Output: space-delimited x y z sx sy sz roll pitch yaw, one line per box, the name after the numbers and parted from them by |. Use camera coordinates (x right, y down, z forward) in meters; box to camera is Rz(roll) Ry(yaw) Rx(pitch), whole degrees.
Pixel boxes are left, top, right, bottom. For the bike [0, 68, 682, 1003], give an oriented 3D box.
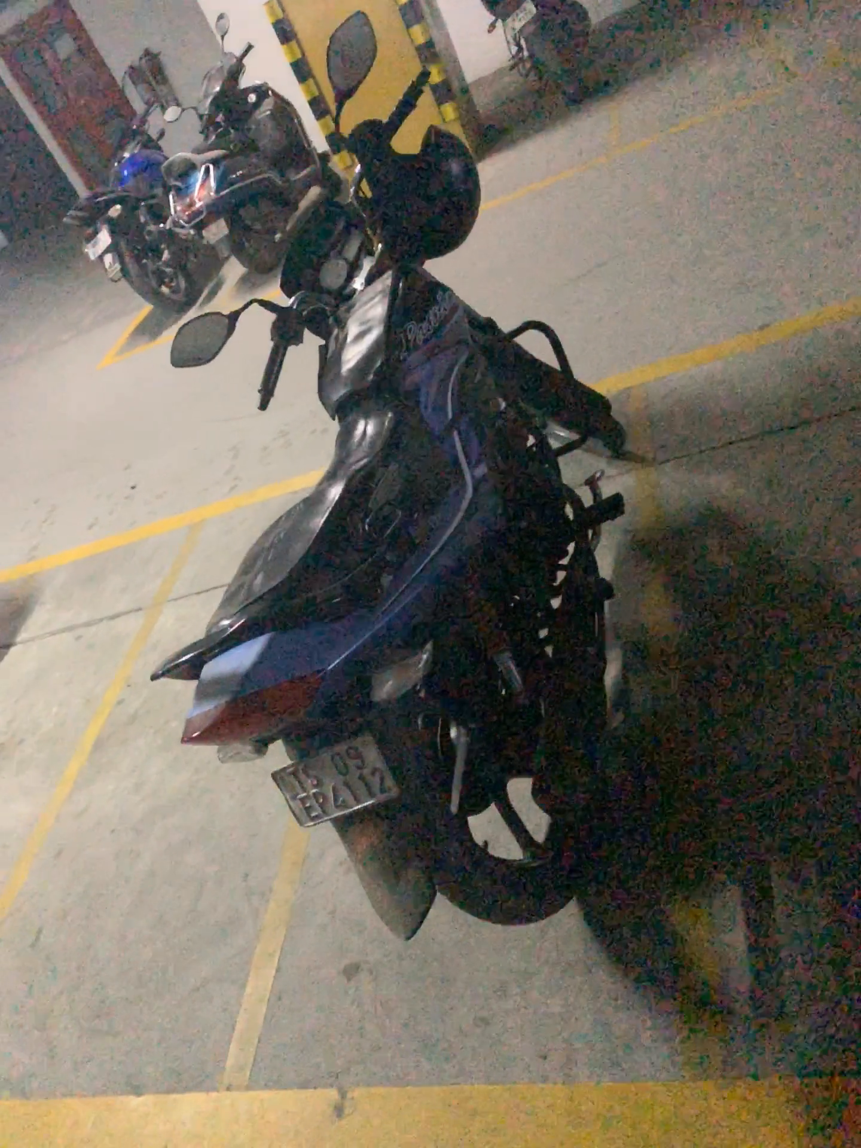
-0.176 -0.203 1.883 0.781 1.107 1.709 -18 35 16 | bike
